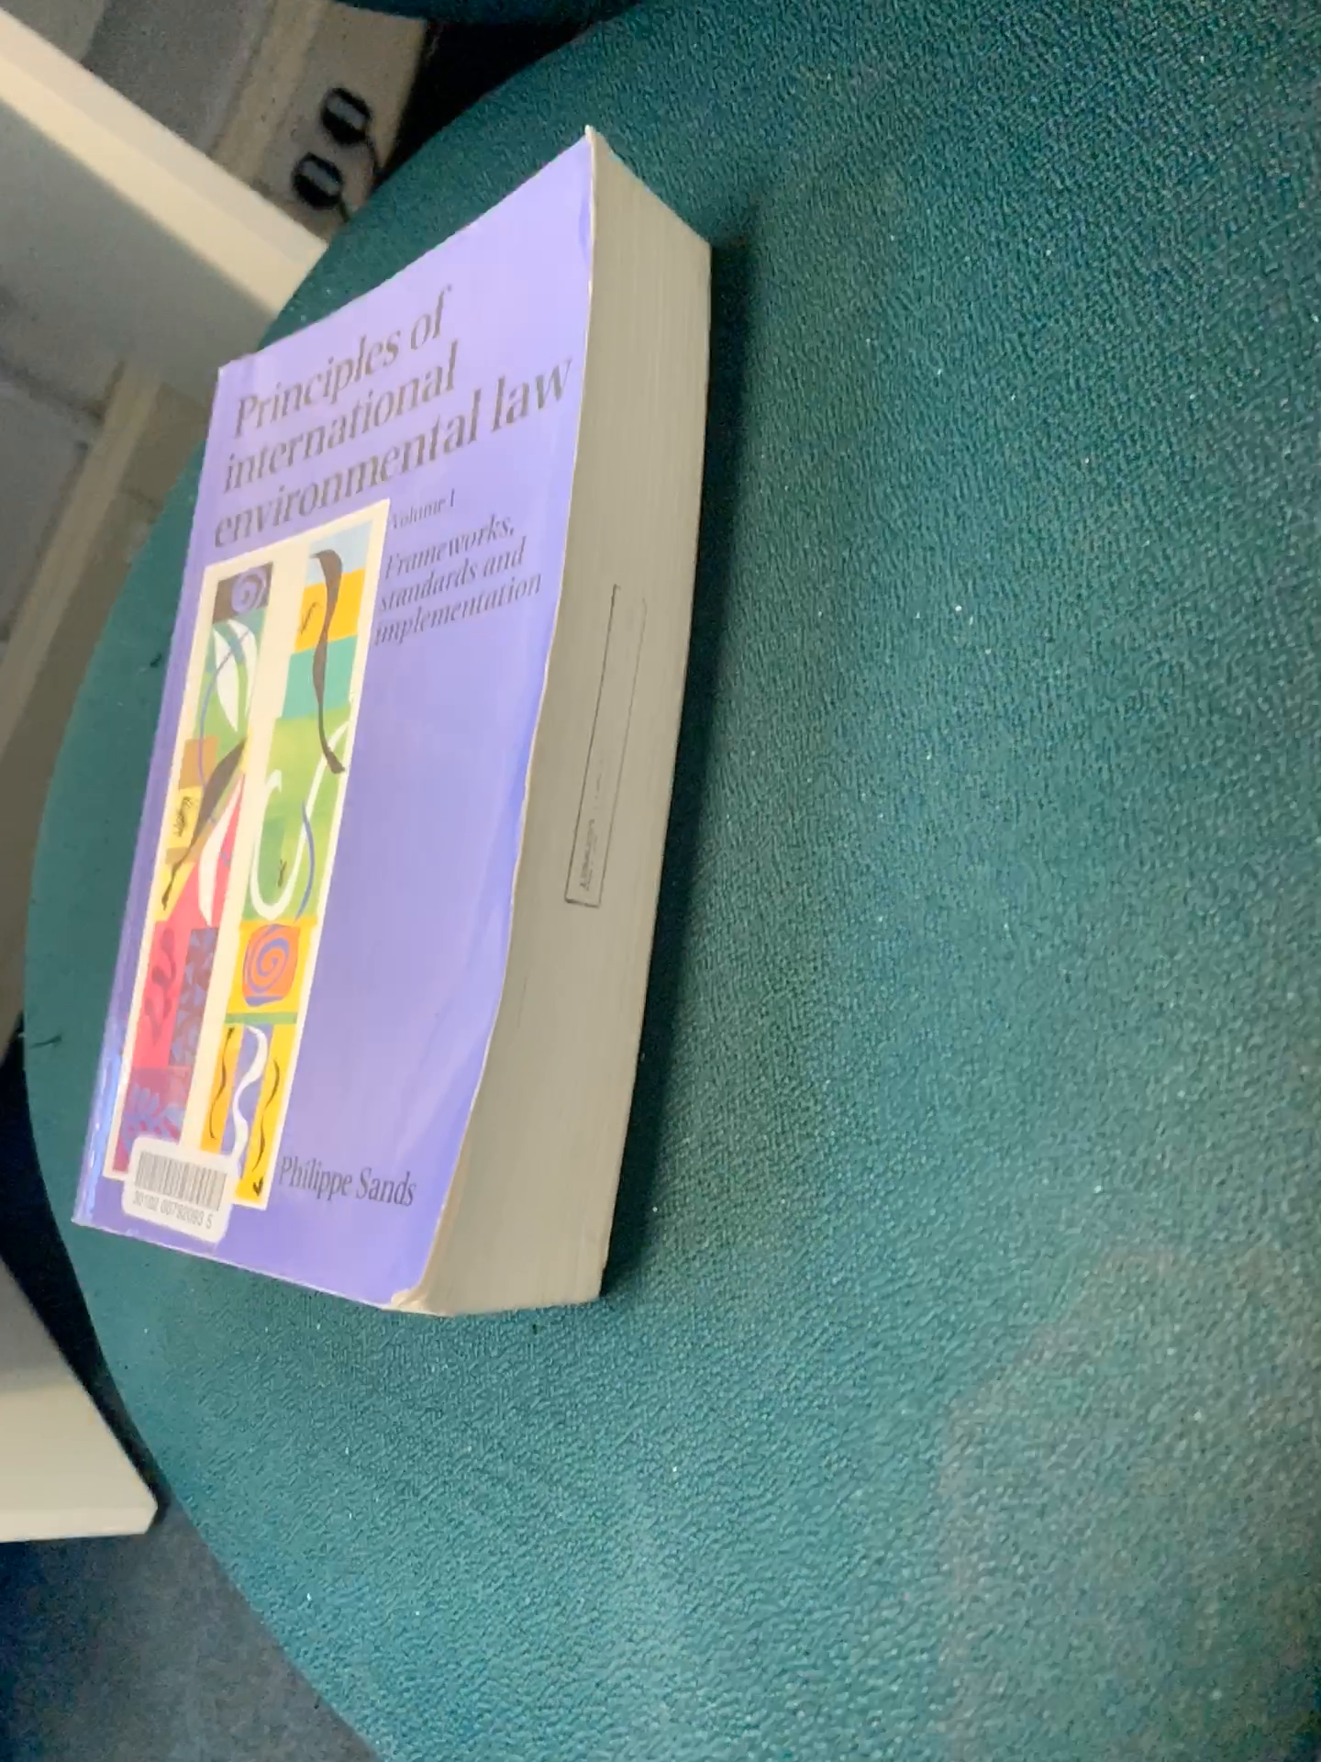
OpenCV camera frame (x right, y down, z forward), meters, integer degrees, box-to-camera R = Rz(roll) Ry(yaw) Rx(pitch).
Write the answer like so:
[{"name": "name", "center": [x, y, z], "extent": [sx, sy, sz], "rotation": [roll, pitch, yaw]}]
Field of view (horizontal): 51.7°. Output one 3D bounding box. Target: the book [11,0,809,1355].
[{"name": "book", "center": [-0.064, -0.043, 0.326], "extent": [0.181, 0.050, 0.271], "rotation": [-6, 71, 43]}]
